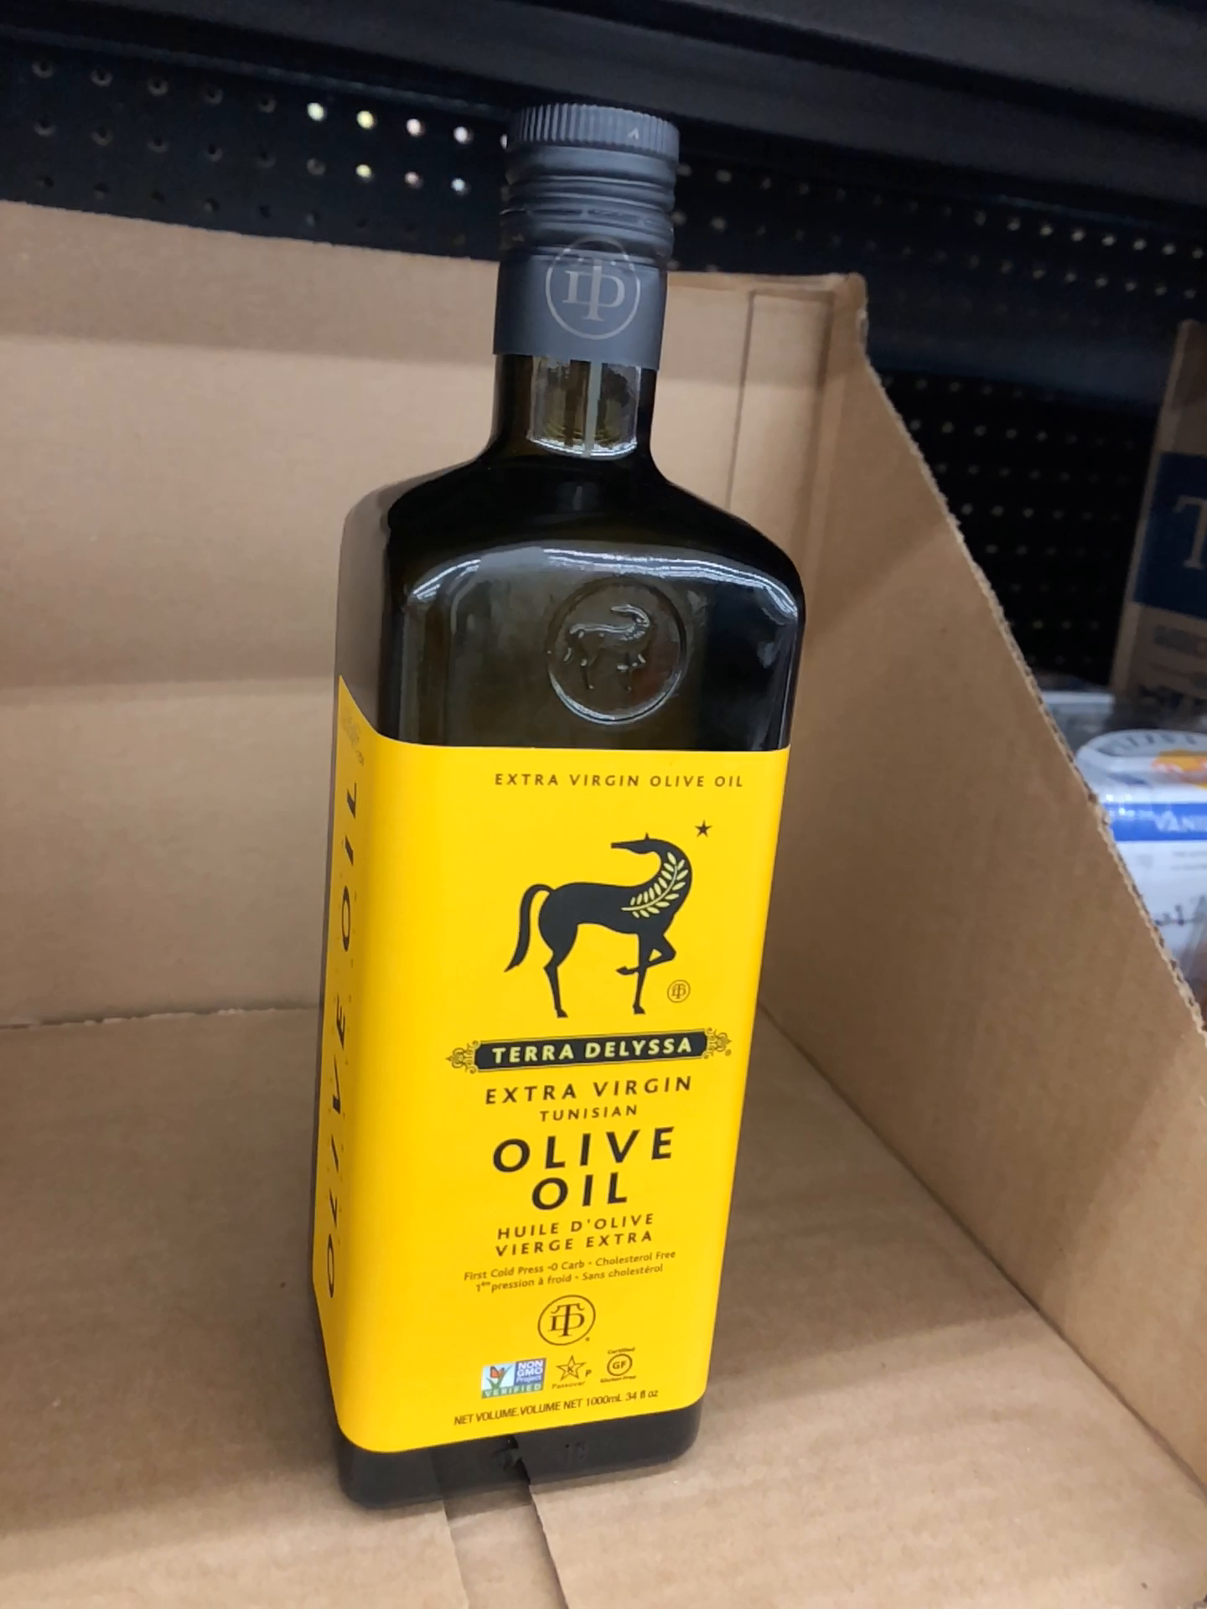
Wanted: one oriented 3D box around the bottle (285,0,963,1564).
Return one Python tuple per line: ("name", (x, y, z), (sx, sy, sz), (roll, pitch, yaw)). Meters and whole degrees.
("bottle", (-0.014, 0.002, 0.282), (0.090, 0.288, 0.090), (5, 18, -2))
